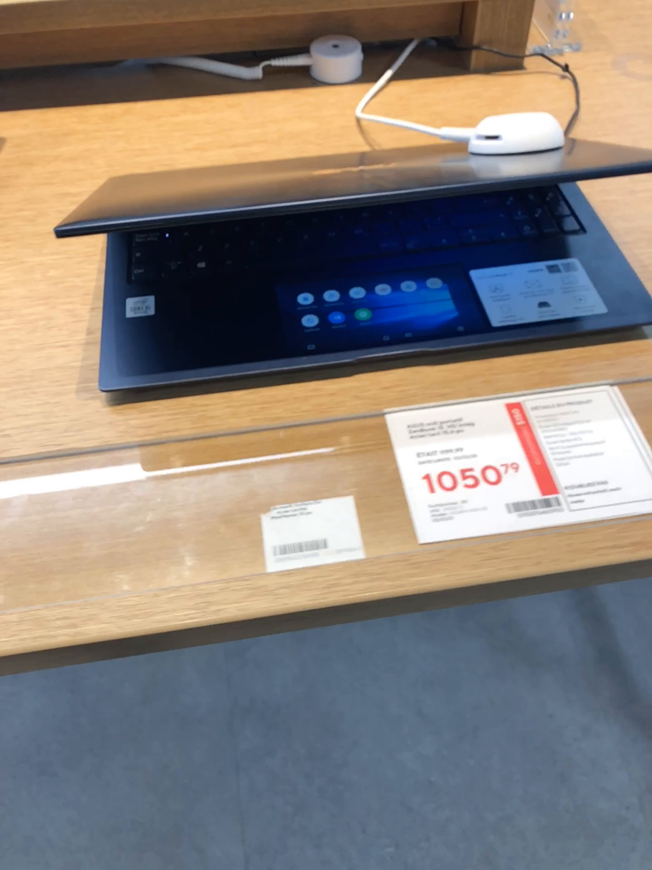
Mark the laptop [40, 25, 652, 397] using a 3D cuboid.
[{"bbox_3d":[0.023,-0.157,0.468,0.352,0.098,0.209,-8,51,-6],"label":"laptop"}]
